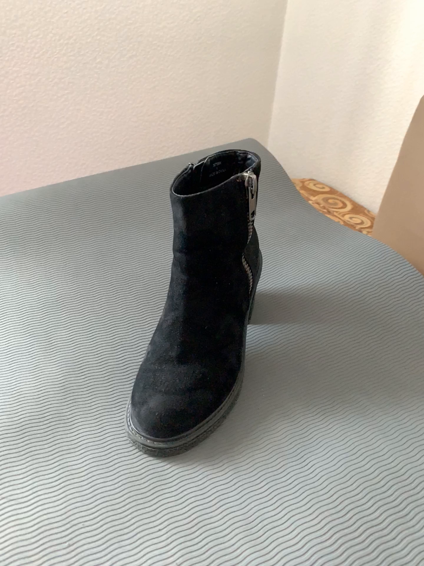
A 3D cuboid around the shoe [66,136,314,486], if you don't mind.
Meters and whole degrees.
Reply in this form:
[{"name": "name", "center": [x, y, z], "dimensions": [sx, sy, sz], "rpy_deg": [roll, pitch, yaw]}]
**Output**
[{"name": "shoe", "center": [0.000, 0.003, 0.380], "dimensions": [0.098, 0.179, 0.241], "rpy_deg": [16, 37, 15]}]
